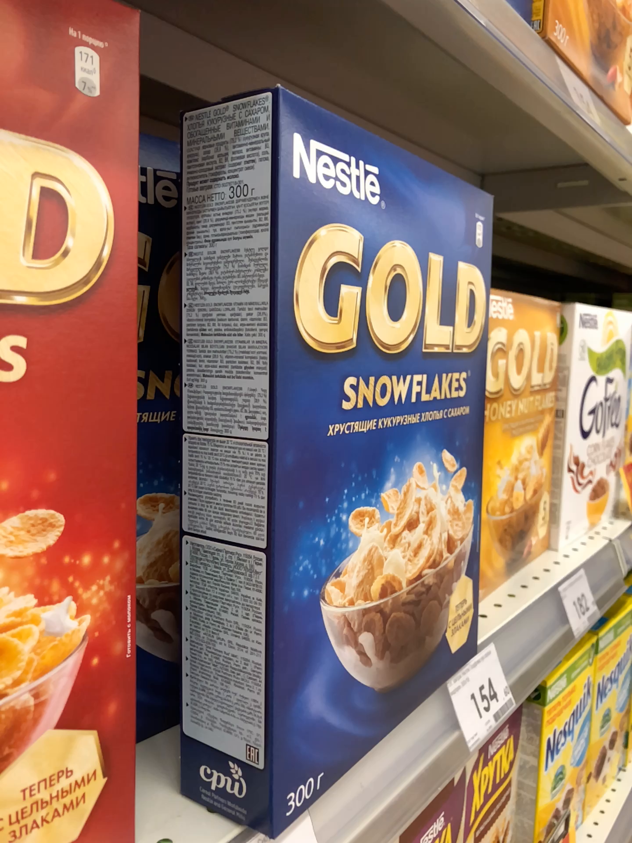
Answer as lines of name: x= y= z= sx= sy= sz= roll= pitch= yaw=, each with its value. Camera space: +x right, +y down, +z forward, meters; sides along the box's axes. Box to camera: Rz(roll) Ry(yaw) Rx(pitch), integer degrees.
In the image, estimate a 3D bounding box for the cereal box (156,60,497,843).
cereal box: x=0.019 y=0.012 z=0.326 sx=0.050 sy=0.270 sz=0.200 roll=4 pitch=6 yaw=34
